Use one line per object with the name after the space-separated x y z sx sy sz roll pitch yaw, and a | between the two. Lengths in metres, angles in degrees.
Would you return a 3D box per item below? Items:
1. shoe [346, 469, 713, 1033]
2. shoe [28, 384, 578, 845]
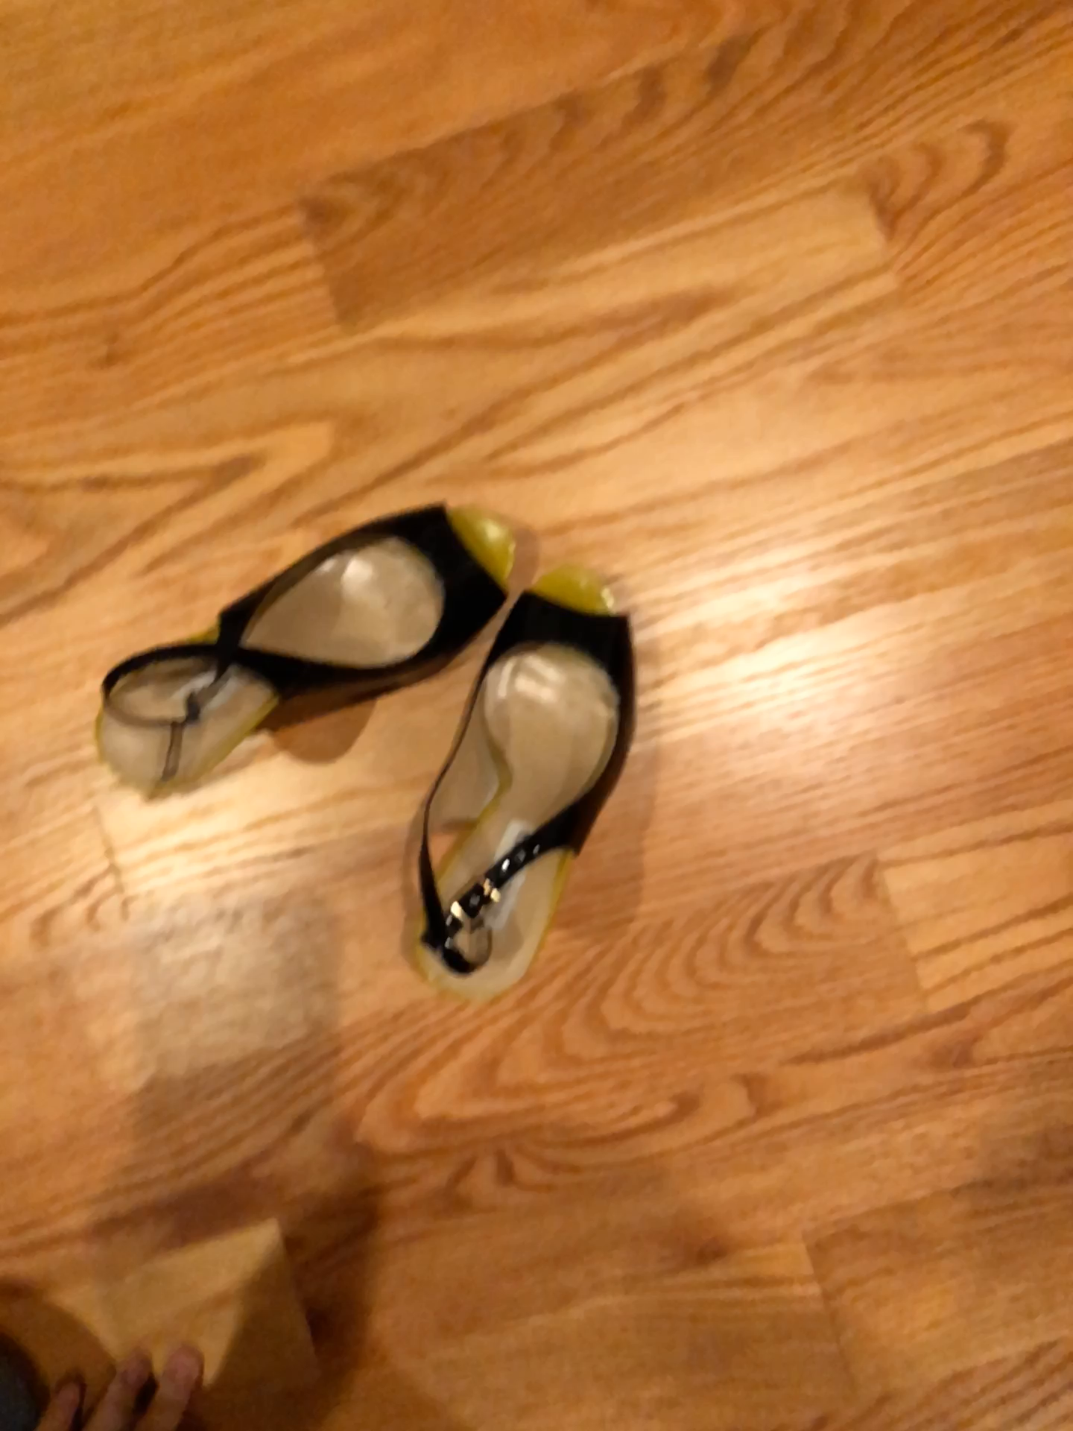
0.001 0.015 0.525 0.085 0.132 0.201 17 89 3 | shoe
-0.091 -0.038 0.532 0.204 0.122 0.085 -33 86 1 | shoe
